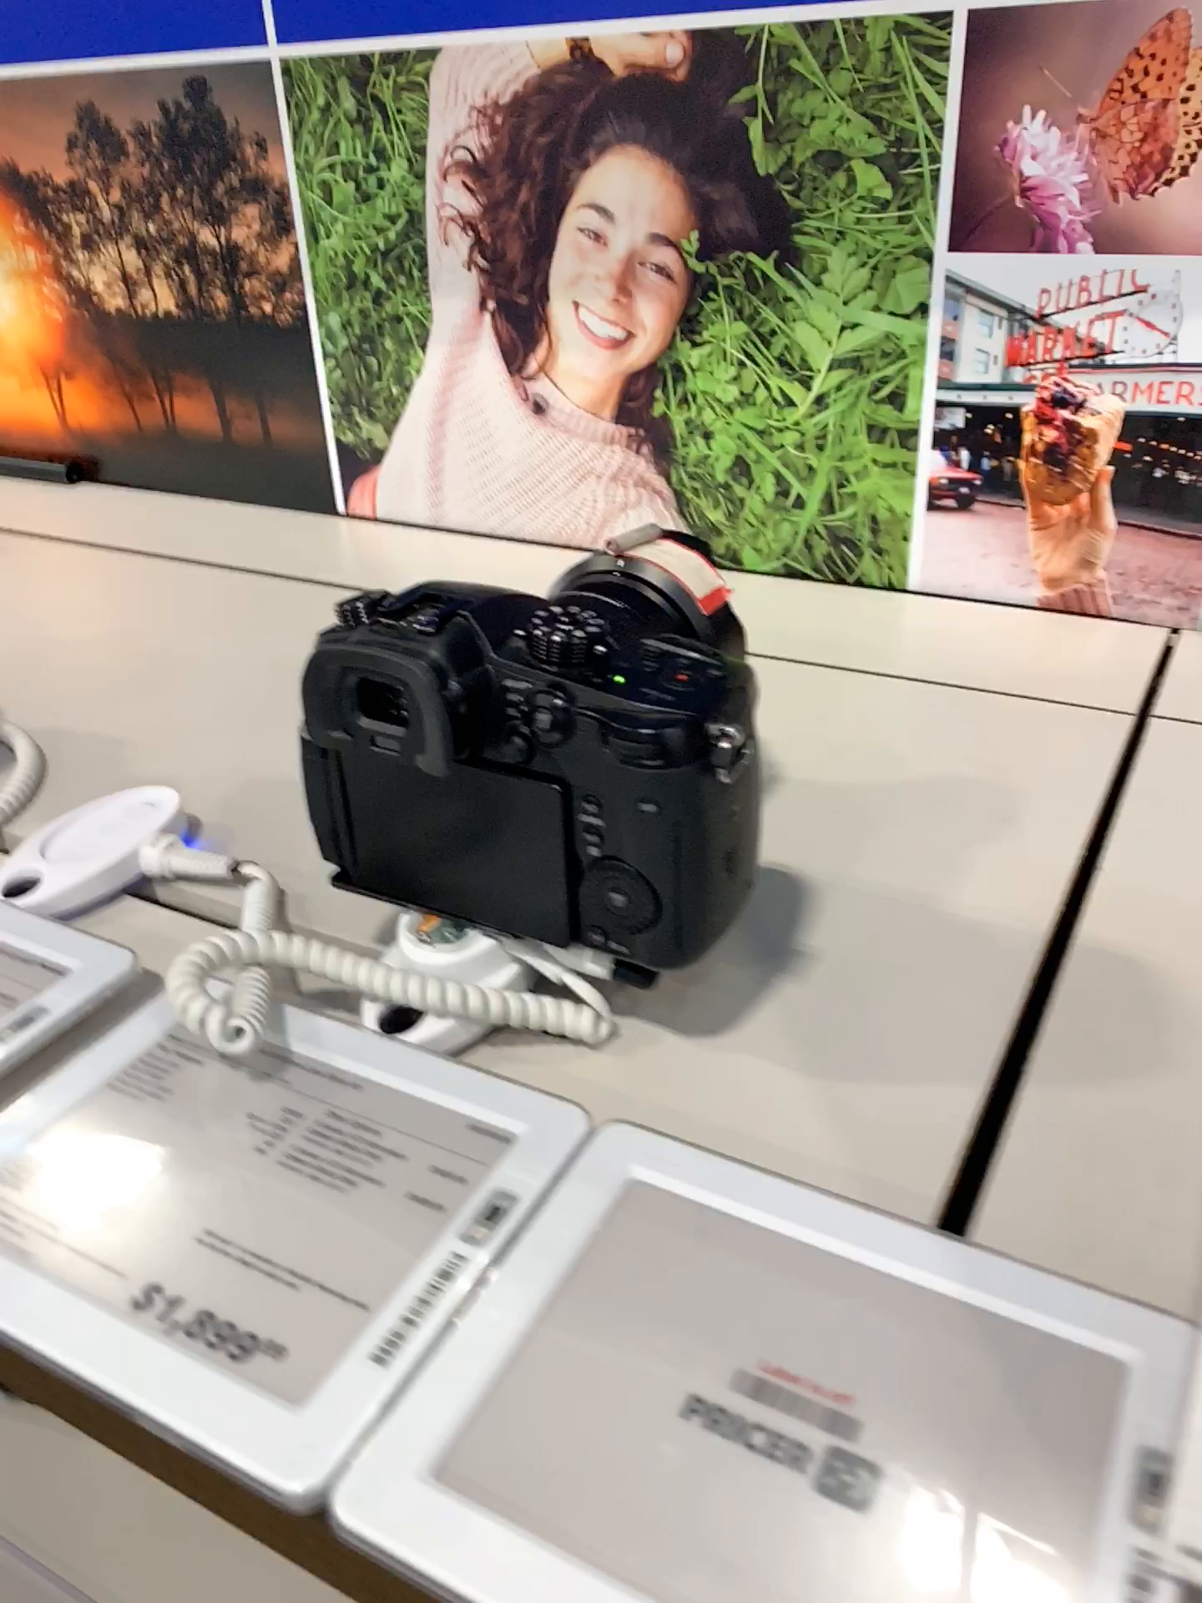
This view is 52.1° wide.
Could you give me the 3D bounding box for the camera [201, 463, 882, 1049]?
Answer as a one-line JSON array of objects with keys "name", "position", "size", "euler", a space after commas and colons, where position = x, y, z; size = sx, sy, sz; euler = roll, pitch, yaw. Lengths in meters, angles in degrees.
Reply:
[{"name": "camera", "position": [-0.003, -0.035, 0.420], "size": [0.140, 0.099, 0.201], "euler": [11, 33, 24]}]
